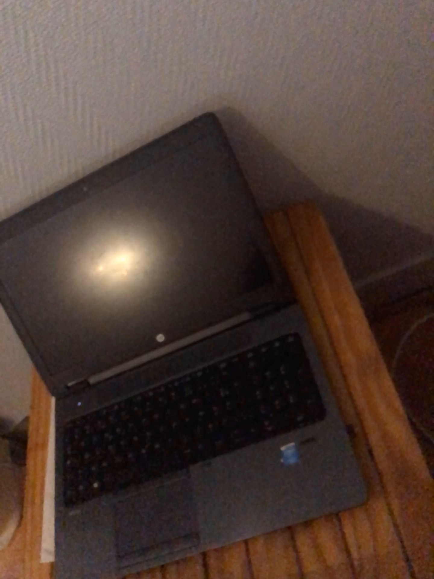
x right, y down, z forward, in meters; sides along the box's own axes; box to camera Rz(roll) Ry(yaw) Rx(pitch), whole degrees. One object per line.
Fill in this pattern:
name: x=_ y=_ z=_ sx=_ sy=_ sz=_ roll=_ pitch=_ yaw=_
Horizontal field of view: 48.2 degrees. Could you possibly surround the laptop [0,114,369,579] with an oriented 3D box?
laptop: x=-0.098 y=0.073 z=0.577 sx=0.382 sy=0.196 sz=0.411 roll=-24 pitch=52 yaw=13
